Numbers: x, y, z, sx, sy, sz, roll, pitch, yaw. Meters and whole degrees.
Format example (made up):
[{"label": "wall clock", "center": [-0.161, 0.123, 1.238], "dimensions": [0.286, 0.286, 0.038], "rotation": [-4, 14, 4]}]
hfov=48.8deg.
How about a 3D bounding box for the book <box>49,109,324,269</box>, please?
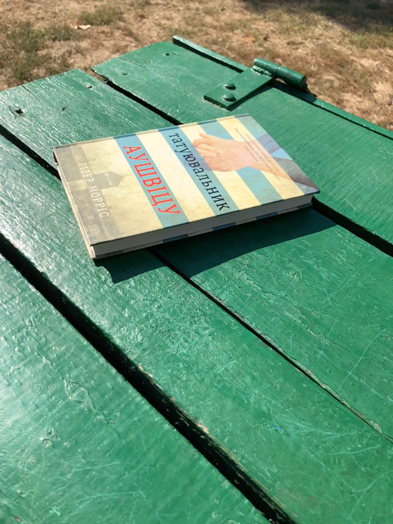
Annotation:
[{"label": "book", "center": [-0.013, -0.081, 0.405], "dimensions": [0.213, 0.020, 0.148], "rotation": [-16, 52, -18]}]
